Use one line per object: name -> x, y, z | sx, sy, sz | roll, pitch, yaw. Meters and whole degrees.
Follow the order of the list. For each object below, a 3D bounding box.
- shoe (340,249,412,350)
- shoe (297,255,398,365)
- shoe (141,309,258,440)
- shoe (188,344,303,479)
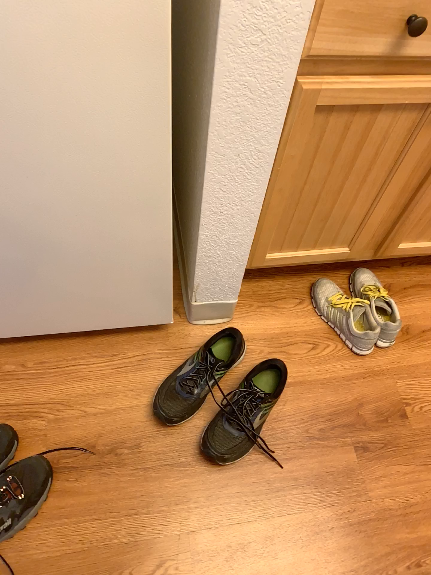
shoe -> 0.464, 0.032, 1.296 | 0.100, 0.110, 0.271 | -6, 58, -3
shoe -> 0.352, 0.059, 1.209 | 0.100, 0.110, 0.271 | -26, 63, -14
shoe -> -0.037, 0.204, 1.045 | 0.100, 0.139, 0.281 | 39, 61, 17
shoe -> 0.069, 0.288, 1.035 | 0.110, 0.139, 0.271 | 36, 60, 16
